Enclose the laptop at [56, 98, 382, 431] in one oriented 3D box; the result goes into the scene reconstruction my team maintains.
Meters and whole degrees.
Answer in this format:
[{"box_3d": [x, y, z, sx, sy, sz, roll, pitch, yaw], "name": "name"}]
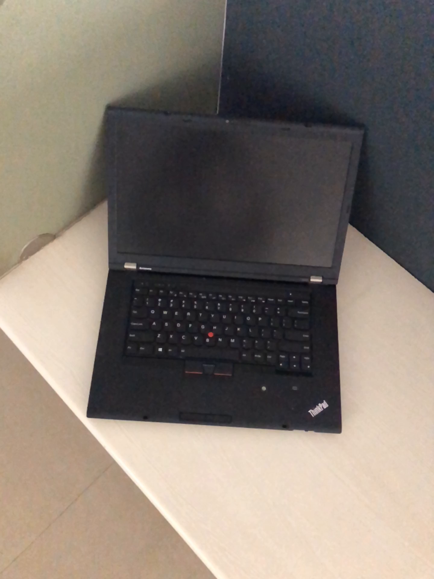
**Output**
[{"box_3d": [0.013, -0.032, 0.668, 0.355, 0.168, 0.405, 4, 68, -1], "name": "laptop"}]
